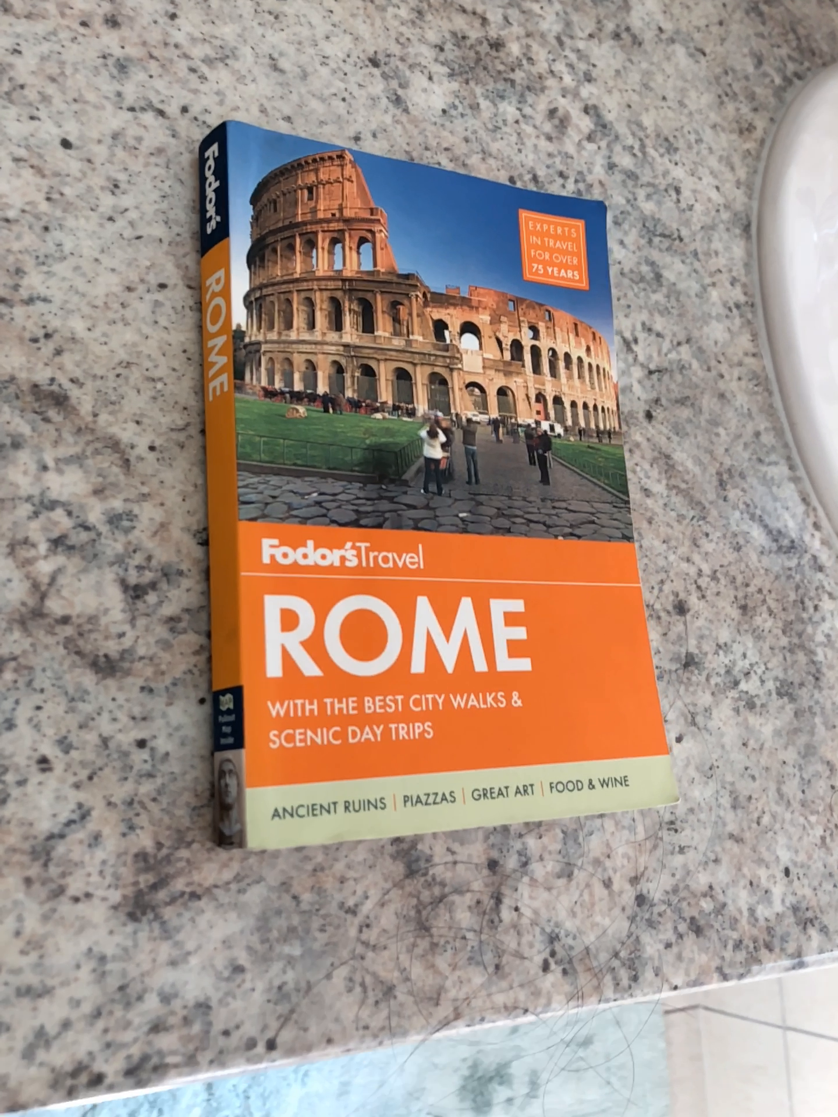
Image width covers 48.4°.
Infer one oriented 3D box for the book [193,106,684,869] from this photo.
[{"bbox_3d":[0.005,-0.023,0.283,0.139,0.023,0.207,2,76,-26],"label":"book"}]
